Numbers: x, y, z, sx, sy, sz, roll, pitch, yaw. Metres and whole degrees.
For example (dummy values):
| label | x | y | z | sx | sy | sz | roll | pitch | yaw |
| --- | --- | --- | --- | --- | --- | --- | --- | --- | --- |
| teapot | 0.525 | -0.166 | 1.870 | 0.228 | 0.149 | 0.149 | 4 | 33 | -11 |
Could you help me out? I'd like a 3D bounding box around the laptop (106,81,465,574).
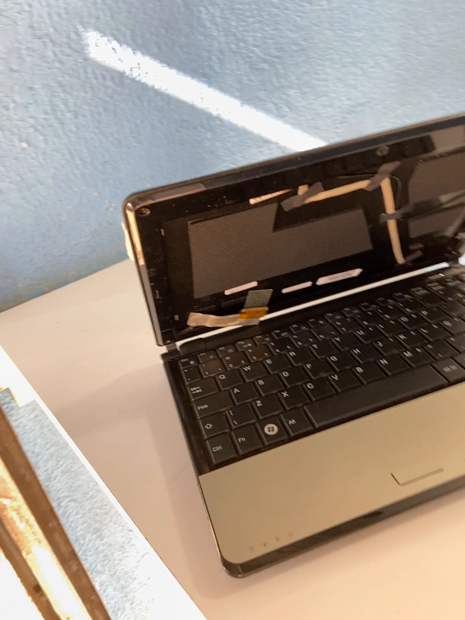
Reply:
| label | x | y | z | sx | sy | sz | roll | pitch | yaw |
| --- | --- | --- | --- | --- | --- | --- | --- | --- | --- |
| laptop | 0.090 | -0.022 | 0.287 | 0.275 | 0.144 | 0.177 | -17 | 32 | -10 |
